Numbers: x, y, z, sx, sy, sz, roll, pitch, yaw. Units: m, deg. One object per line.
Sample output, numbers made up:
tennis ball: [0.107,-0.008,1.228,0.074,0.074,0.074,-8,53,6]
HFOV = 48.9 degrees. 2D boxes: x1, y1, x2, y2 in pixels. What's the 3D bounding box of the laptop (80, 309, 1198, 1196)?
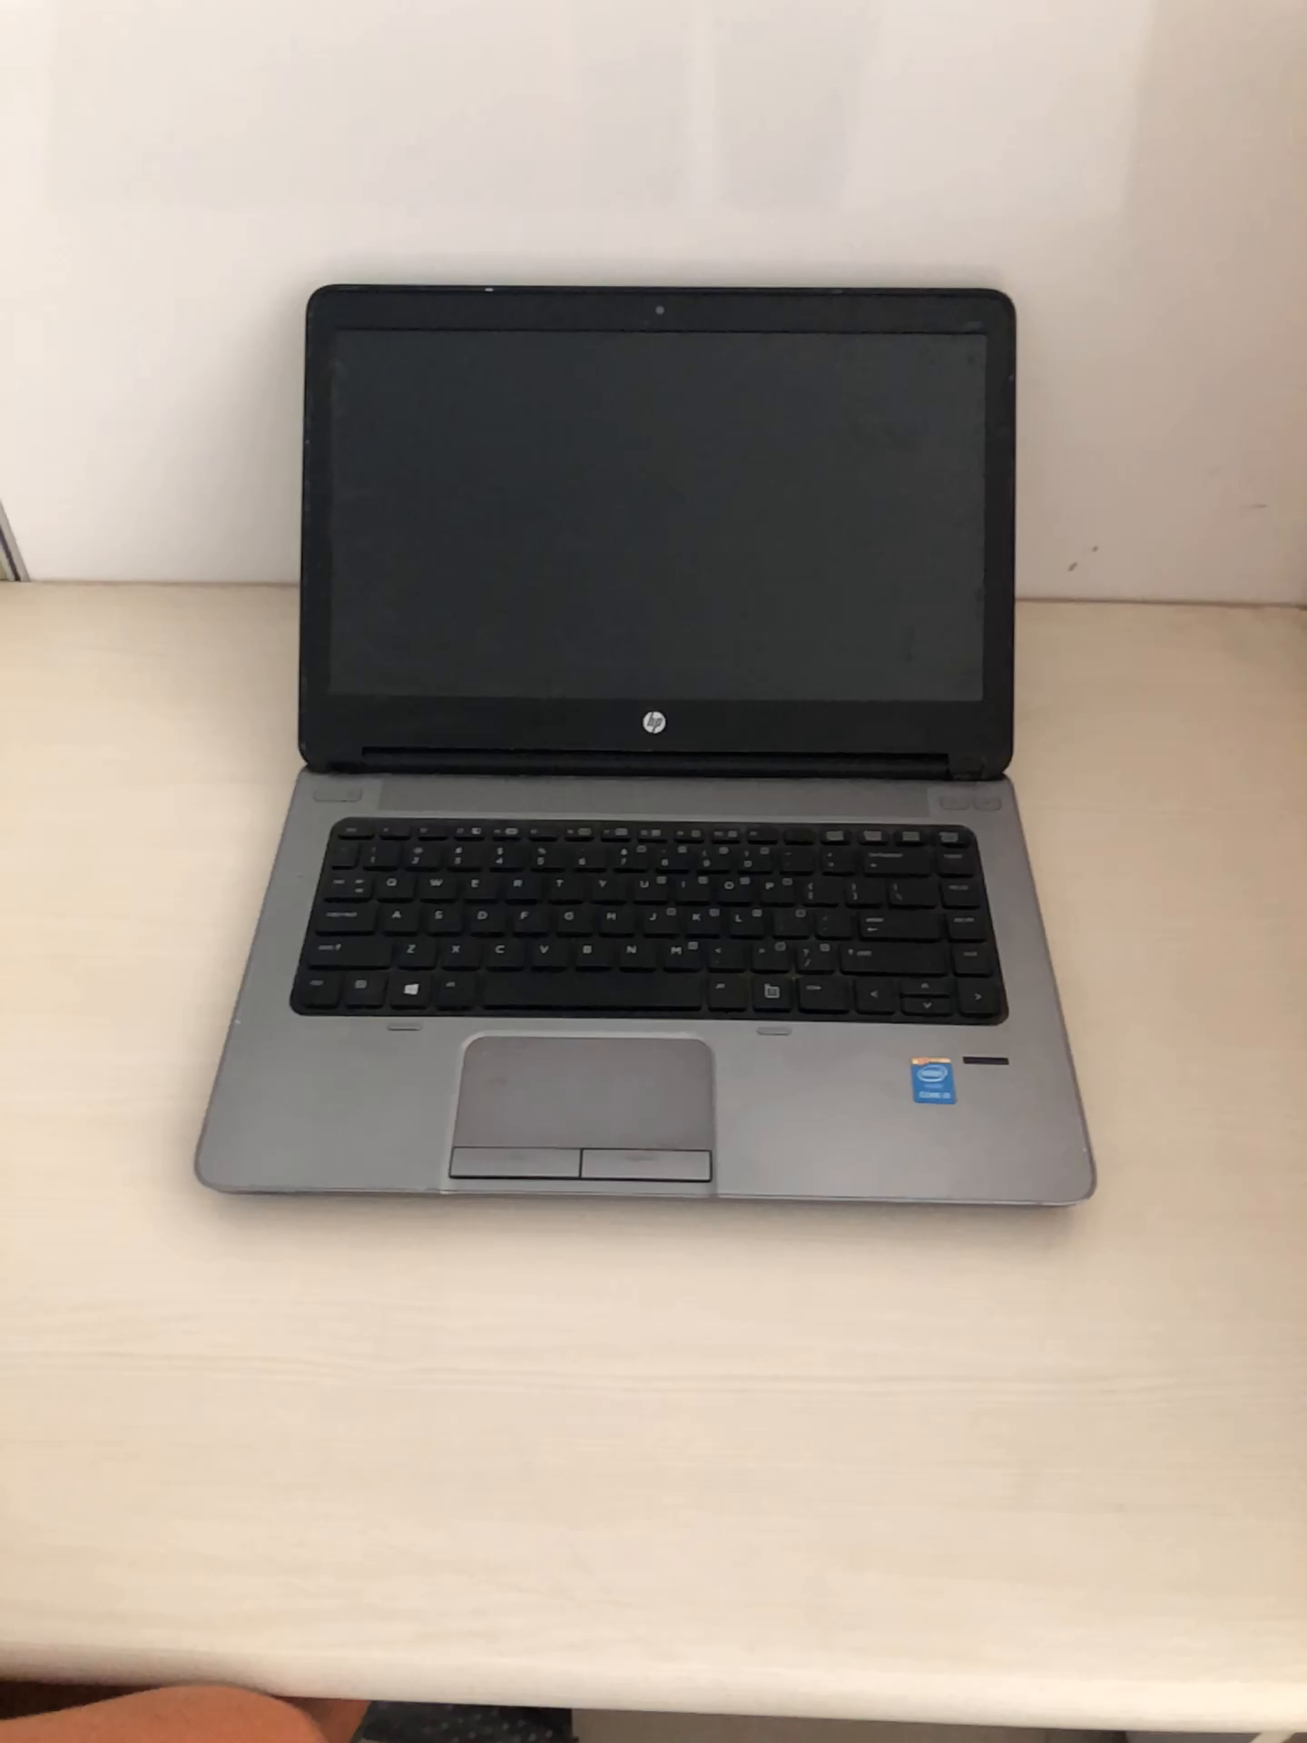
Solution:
laptop: [-0.002,-0.074,0.597,0.322,0.148,0.379,0,47,1]
